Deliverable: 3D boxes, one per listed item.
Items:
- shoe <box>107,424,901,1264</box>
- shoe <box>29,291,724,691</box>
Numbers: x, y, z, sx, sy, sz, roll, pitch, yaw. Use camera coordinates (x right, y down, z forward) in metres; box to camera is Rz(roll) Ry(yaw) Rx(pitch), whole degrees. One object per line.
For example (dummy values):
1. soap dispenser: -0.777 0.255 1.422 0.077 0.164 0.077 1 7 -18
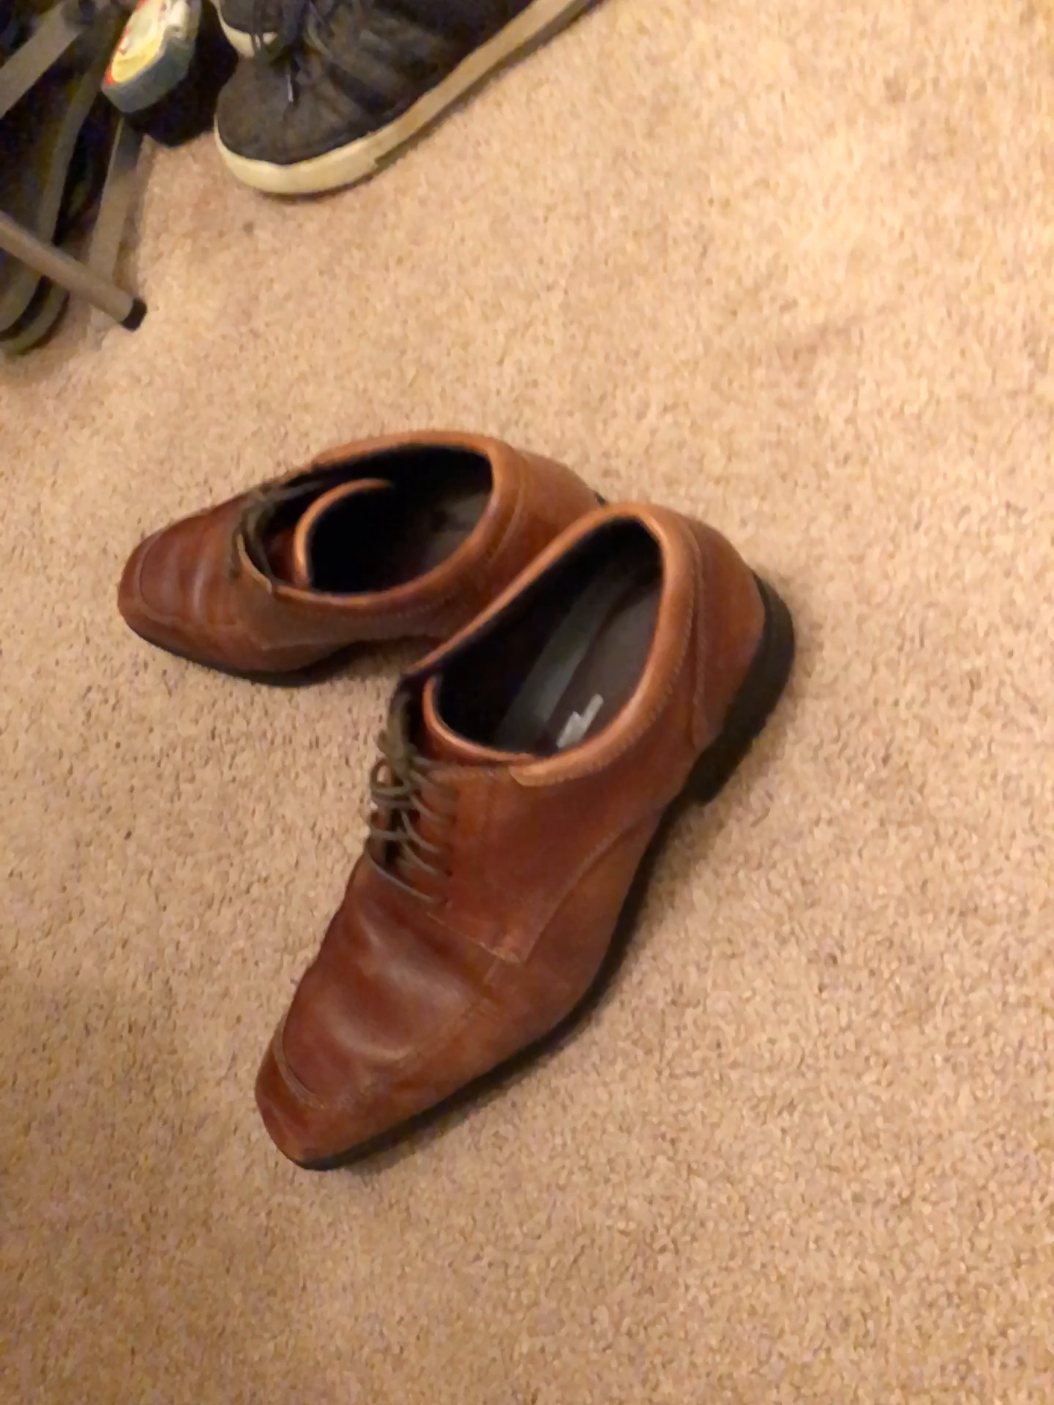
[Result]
1. shoe: -0.010 0.061 0.445 0.300 0.110 0.100 -50 55 8
2. shoe: -0.077 -0.081 0.550 0.301 0.120 0.120 1 74 33
